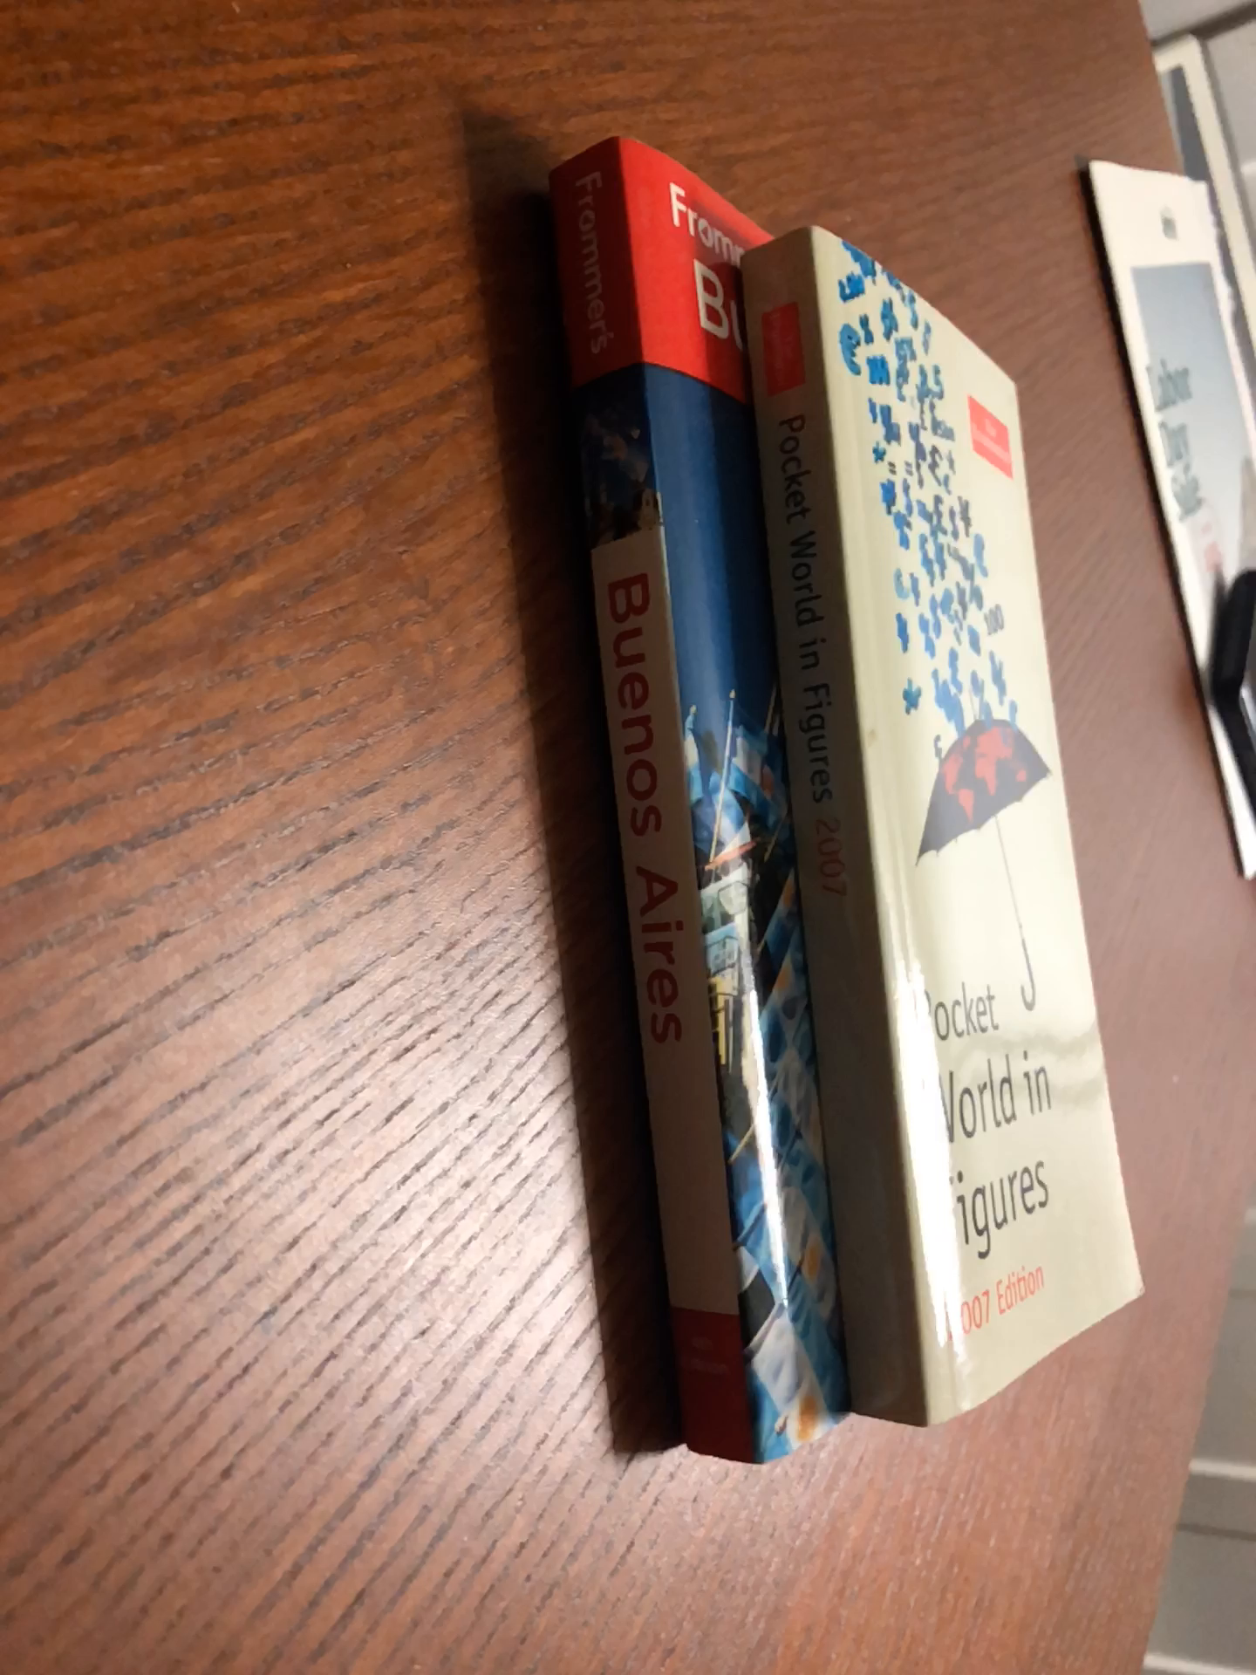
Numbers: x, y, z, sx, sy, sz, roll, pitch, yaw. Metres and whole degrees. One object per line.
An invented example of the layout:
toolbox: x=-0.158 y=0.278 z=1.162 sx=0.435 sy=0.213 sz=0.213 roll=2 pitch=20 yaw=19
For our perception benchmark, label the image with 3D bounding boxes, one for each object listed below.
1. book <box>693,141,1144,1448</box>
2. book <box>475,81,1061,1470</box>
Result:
book: x=0.057 y=-0.009 z=0.258 sx=0.100 sy=0.020 sz=0.200 roll=3 pitch=80 yaw=-53
book: x=0.036 y=-0.012 z=0.272 sx=0.141 sy=0.020 sz=0.210 roll=-1 pitch=83 yaw=-53
